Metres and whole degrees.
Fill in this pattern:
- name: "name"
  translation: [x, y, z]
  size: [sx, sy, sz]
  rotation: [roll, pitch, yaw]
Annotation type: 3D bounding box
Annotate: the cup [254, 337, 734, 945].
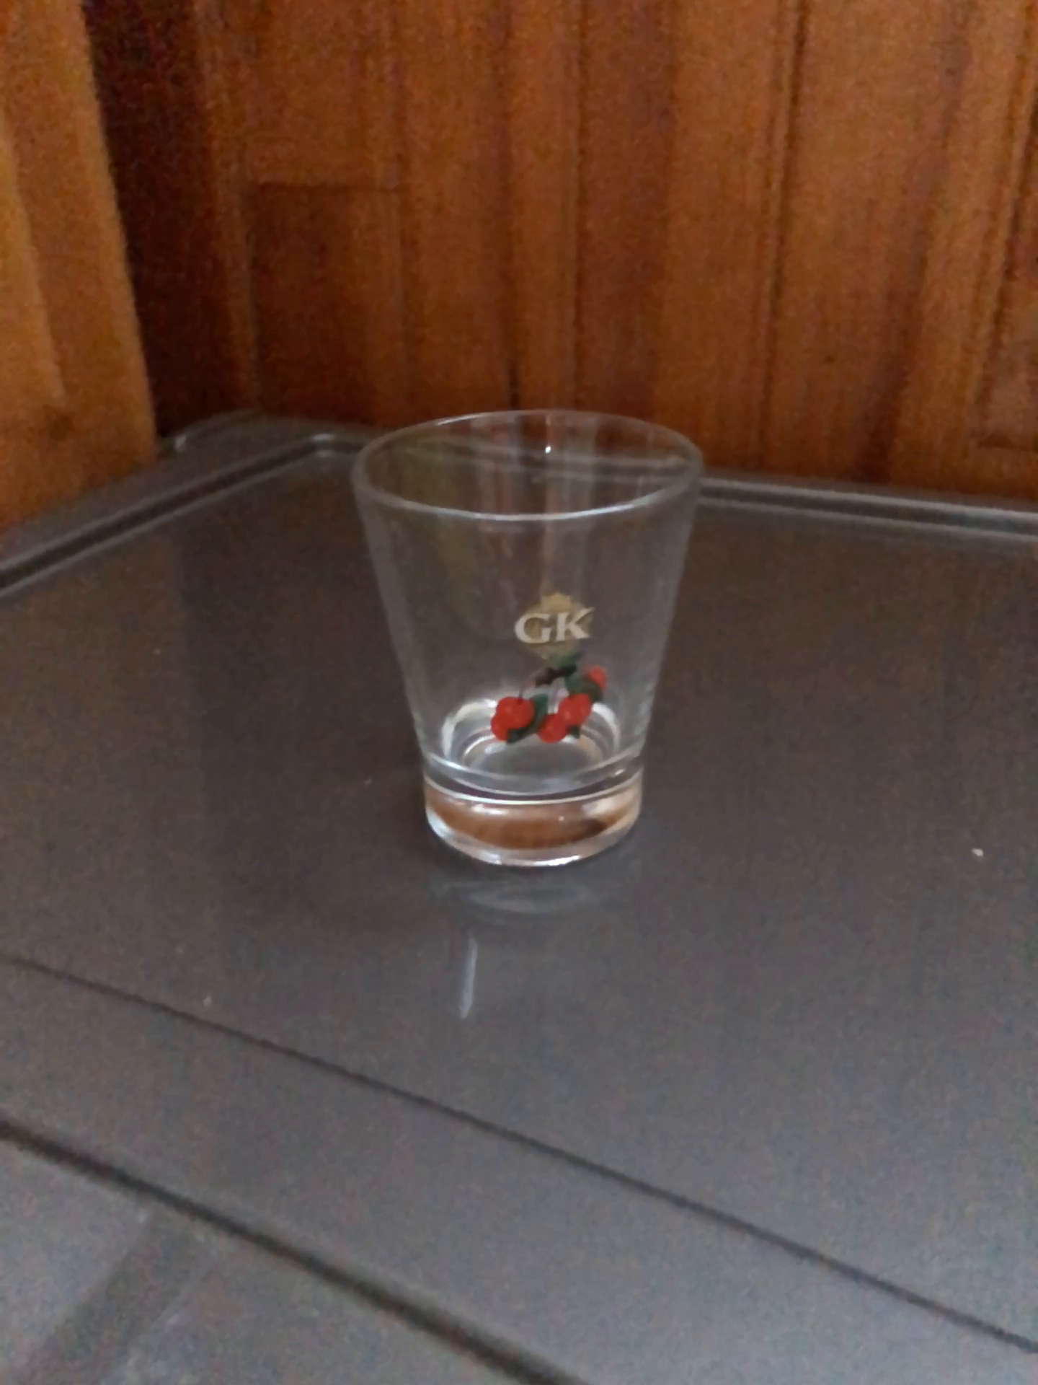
- name: "cup"
  translation: [-0.007, -0.013, 0.202]
  size: [0.060, 0.080, 0.060]
  rotation: [-1, 28, 0]
